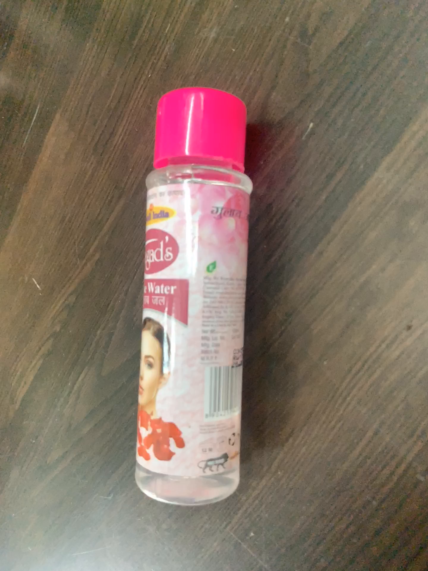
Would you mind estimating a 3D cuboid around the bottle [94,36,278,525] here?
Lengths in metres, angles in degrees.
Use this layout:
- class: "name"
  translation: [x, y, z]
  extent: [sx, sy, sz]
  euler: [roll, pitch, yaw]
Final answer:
- class: "bottle"
  translation: [-0.012, -0.001, 0.159]
  extent: [0.050, 0.040, 0.140]
  euler: [4, 93, 46]
